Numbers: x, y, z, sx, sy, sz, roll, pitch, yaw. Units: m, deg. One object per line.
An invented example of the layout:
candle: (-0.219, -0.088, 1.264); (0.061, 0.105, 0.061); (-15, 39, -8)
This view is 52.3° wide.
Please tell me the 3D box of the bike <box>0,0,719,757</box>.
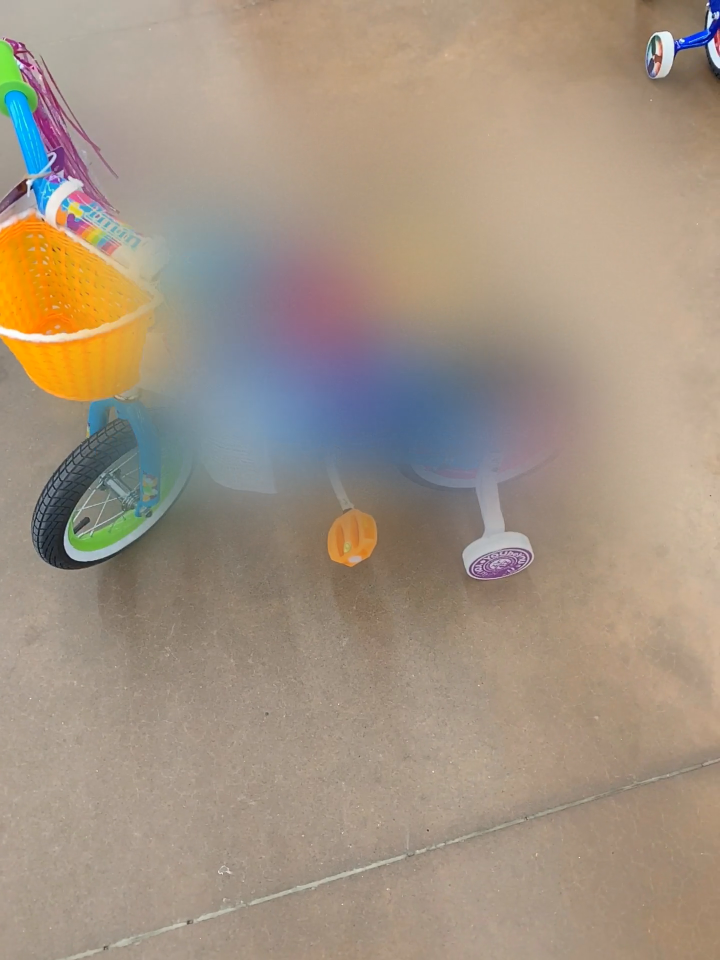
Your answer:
bike: (-0.079, -0.105, 0.966); (0.833, 0.667, 0.522); (-13, 55, -2)
